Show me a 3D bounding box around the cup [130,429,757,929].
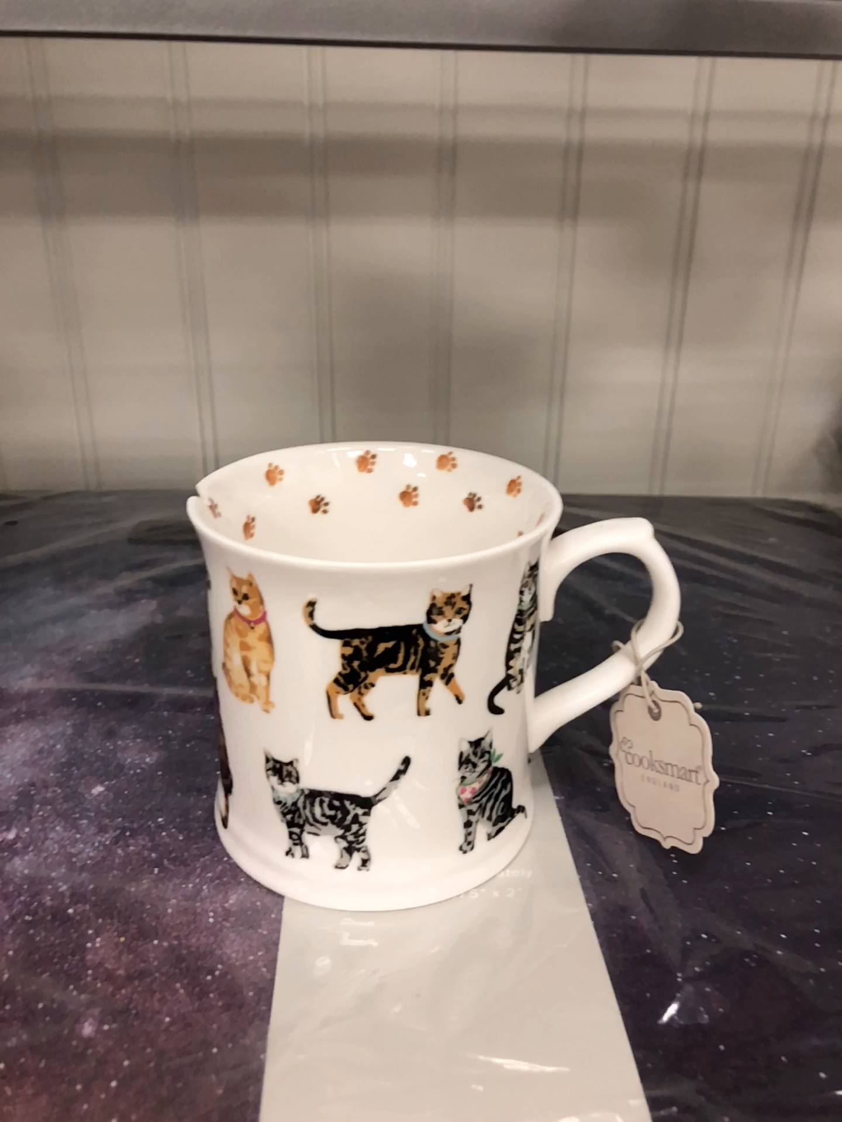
[{"bbox_3d":[0.002,0.025,0.266,0.137,0.099,0.096,-2,24,-6],"label":"cup"}]
